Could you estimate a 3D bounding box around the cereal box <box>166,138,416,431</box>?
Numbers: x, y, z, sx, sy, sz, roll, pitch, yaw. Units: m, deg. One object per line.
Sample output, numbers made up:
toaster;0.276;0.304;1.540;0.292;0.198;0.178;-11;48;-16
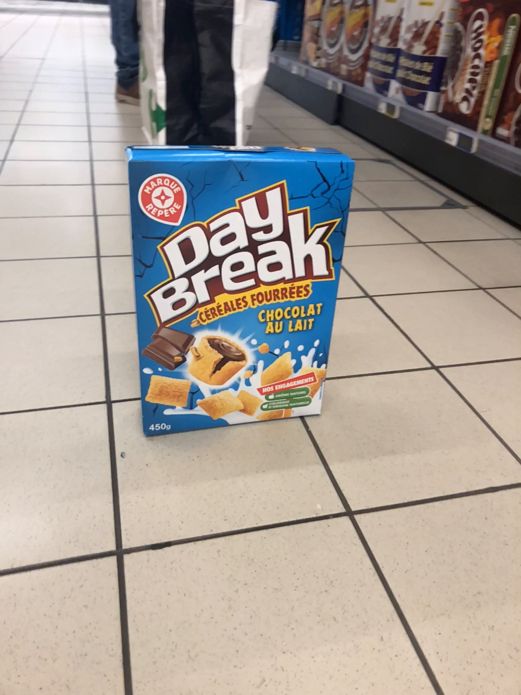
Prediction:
cereal box;0.018;-0.056;0.546;0.200;0.258;0.070;-5;30;-14
